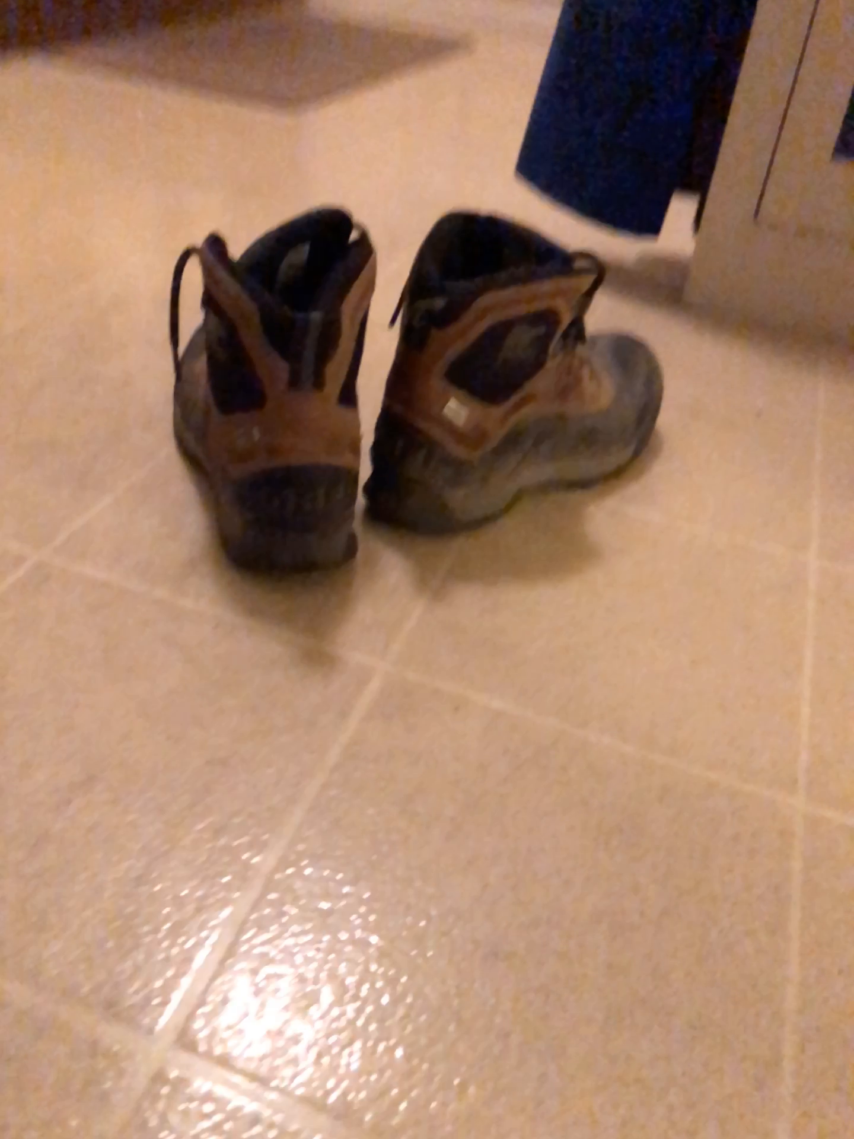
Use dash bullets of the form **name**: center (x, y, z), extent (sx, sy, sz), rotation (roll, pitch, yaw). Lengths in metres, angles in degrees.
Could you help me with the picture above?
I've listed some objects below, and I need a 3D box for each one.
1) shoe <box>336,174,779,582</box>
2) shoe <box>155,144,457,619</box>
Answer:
- **shoe**: center (0.090, -0.146, 0.656), extent (0.293, 0.185, 0.114), rotation (-26, 48, -36)
- **shoe**: center (-0.096, -0.142, 0.623), extent (0.121, 0.185, 0.301), rotation (-7, 39, -17)
